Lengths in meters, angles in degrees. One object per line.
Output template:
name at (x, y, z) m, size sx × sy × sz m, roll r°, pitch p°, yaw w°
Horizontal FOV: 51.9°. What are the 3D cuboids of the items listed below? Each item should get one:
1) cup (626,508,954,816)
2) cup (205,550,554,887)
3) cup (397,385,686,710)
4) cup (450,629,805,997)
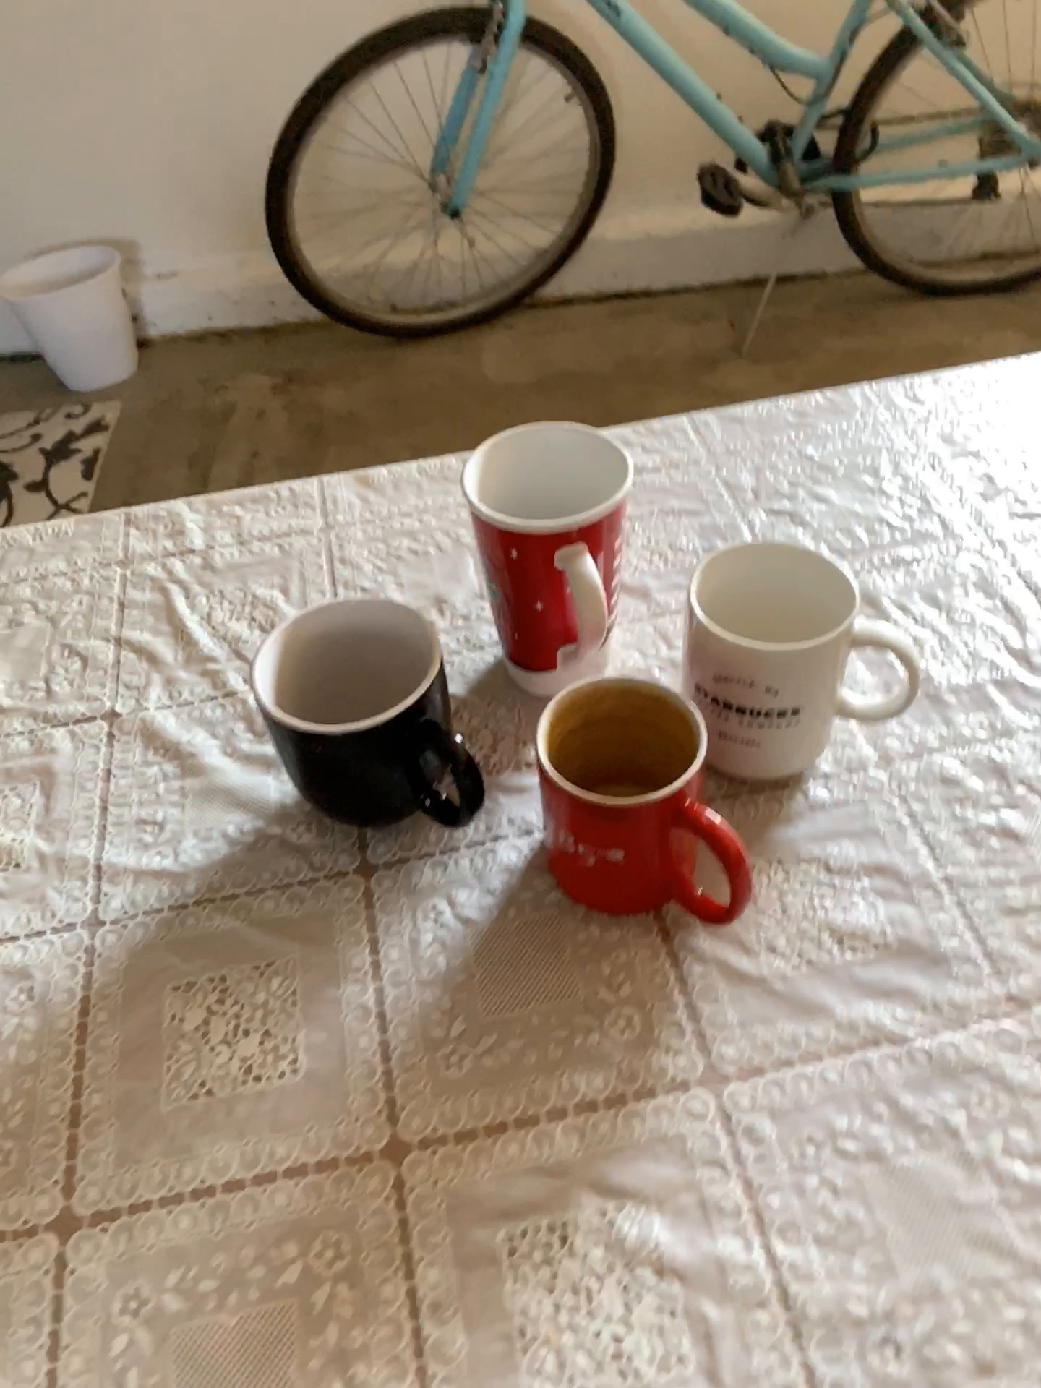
cup at (0.140, -0.020, 0.568) m, size 0.140 × 0.090 × 0.100 m, roll 15°, pitch 51°, yaw 19°
cup at (-0.074, 0.009, 0.589) m, size 0.151 × 0.090 × 0.100 m, roll 28°, pitch 56°, yaw 28°
cup at (0.010, -0.085, 0.595) m, size 0.100 × 0.090 × 0.141 m, roll -22°, pitch 49°, yaw -14°
cup at (0.047, 0.052, 0.494) m, size 0.131 × 0.090 × 0.080 m, roll 31°, pitch 57°, yaw 29°
